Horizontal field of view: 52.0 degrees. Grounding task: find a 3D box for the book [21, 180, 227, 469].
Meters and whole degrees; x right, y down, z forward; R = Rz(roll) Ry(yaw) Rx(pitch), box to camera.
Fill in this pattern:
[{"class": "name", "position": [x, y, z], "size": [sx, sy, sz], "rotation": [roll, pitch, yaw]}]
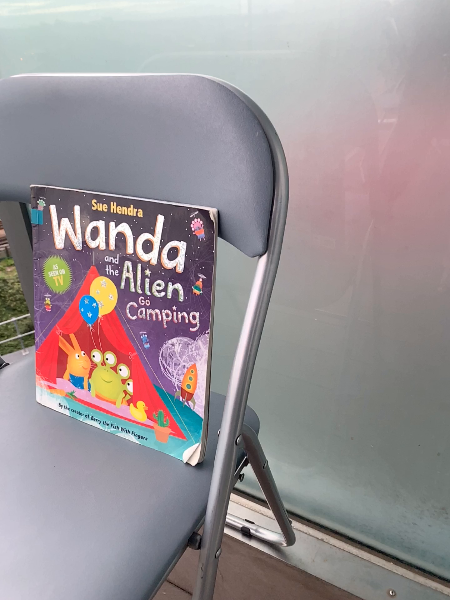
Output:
[{"class": "book", "position": [-0.114, 0.021, 0.496], "size": [0.230, 0.268, 0.030], "rotation": [13, 21, 25]}]
